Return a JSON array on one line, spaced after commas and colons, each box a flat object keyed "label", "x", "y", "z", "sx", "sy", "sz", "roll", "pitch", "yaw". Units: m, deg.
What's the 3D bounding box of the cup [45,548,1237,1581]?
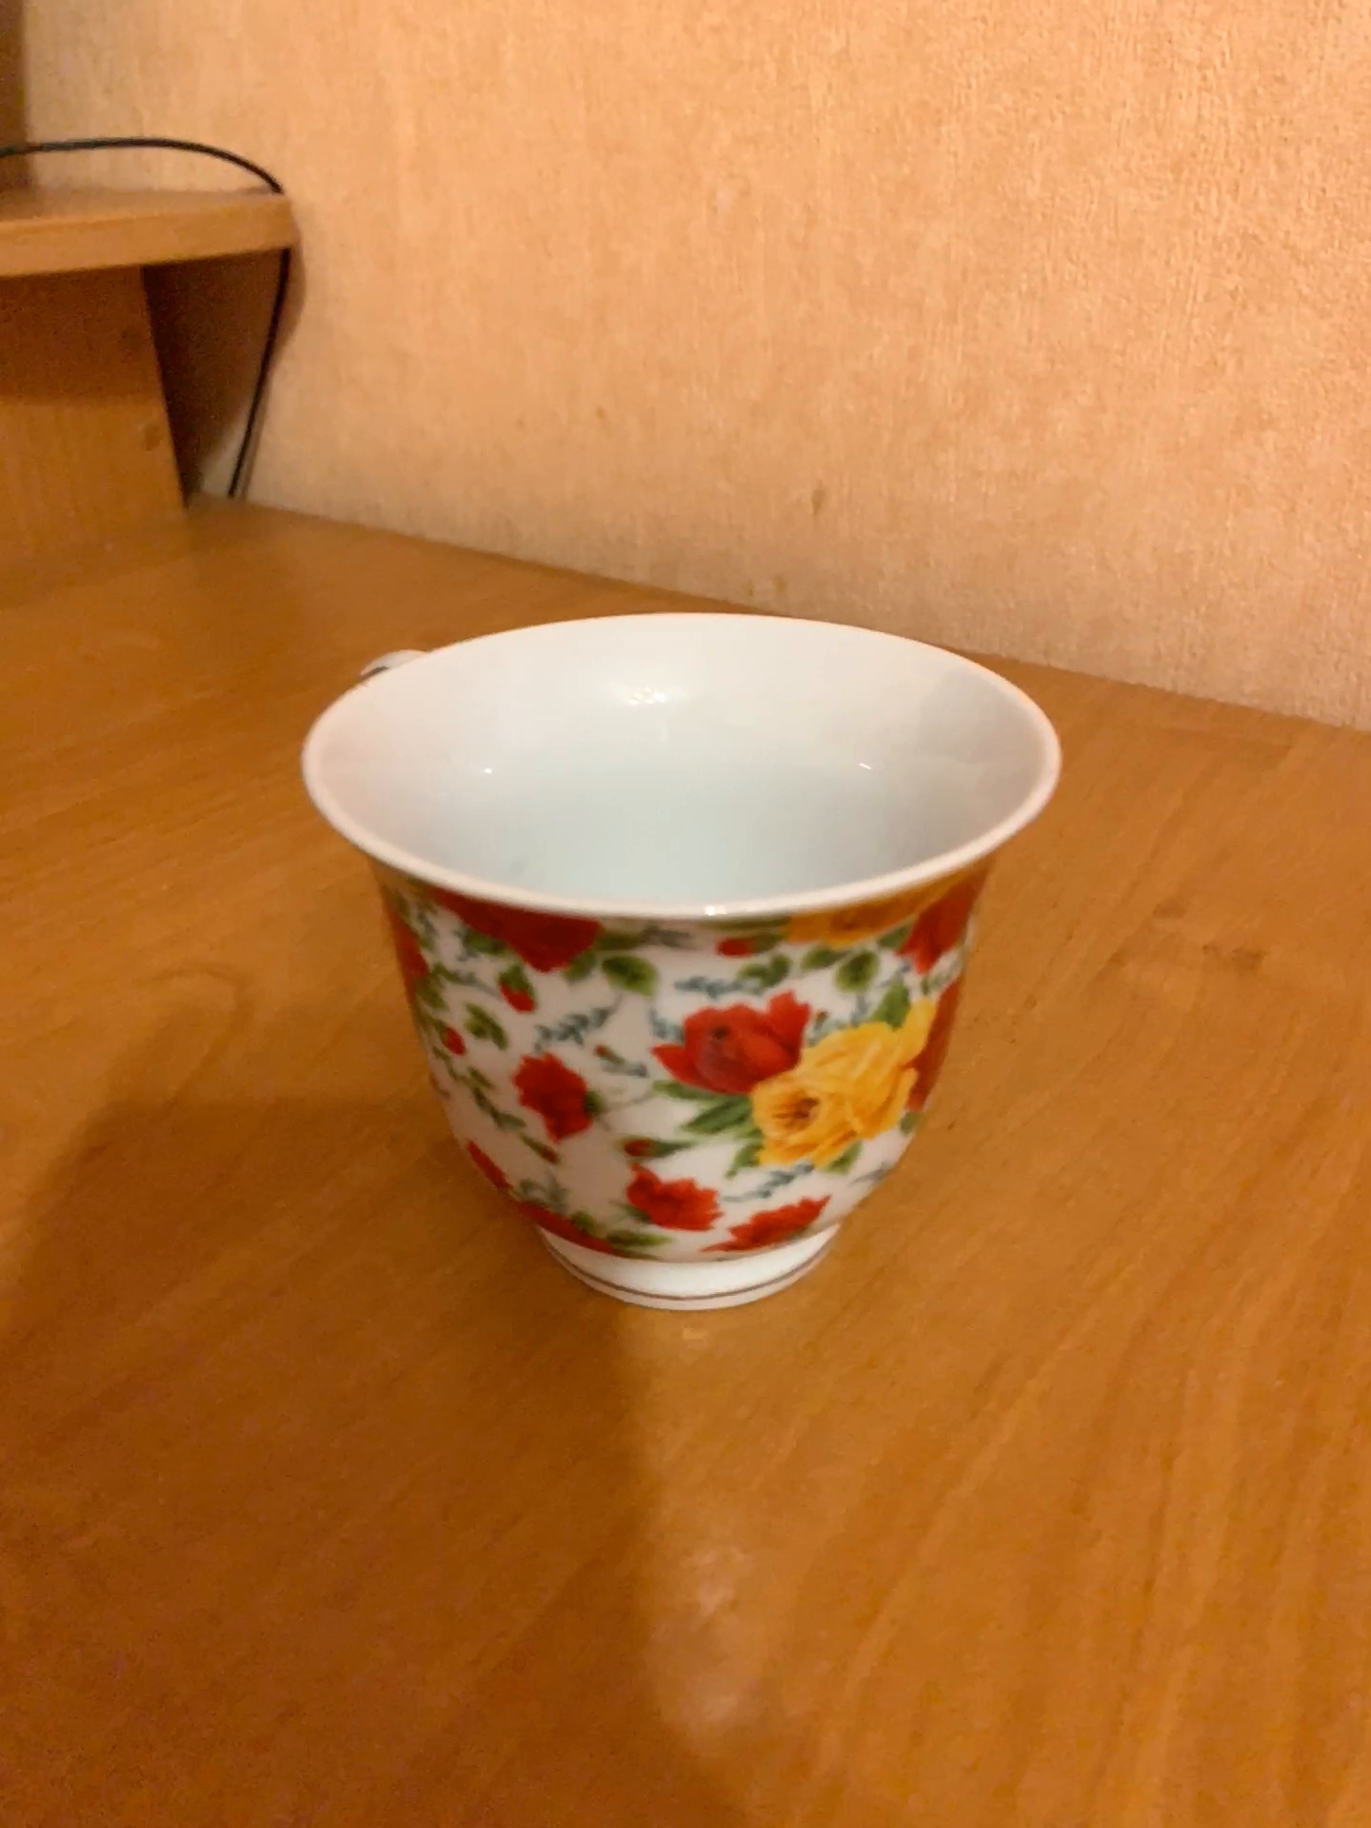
[{"label": "cup", "x": -0.008, "y": 0.002, "z": 0.201, "sx": 0.100, "sy": 0.067, "sz": 0.120, "roll": -26, "pitch": 38, "yaw": -38}]
